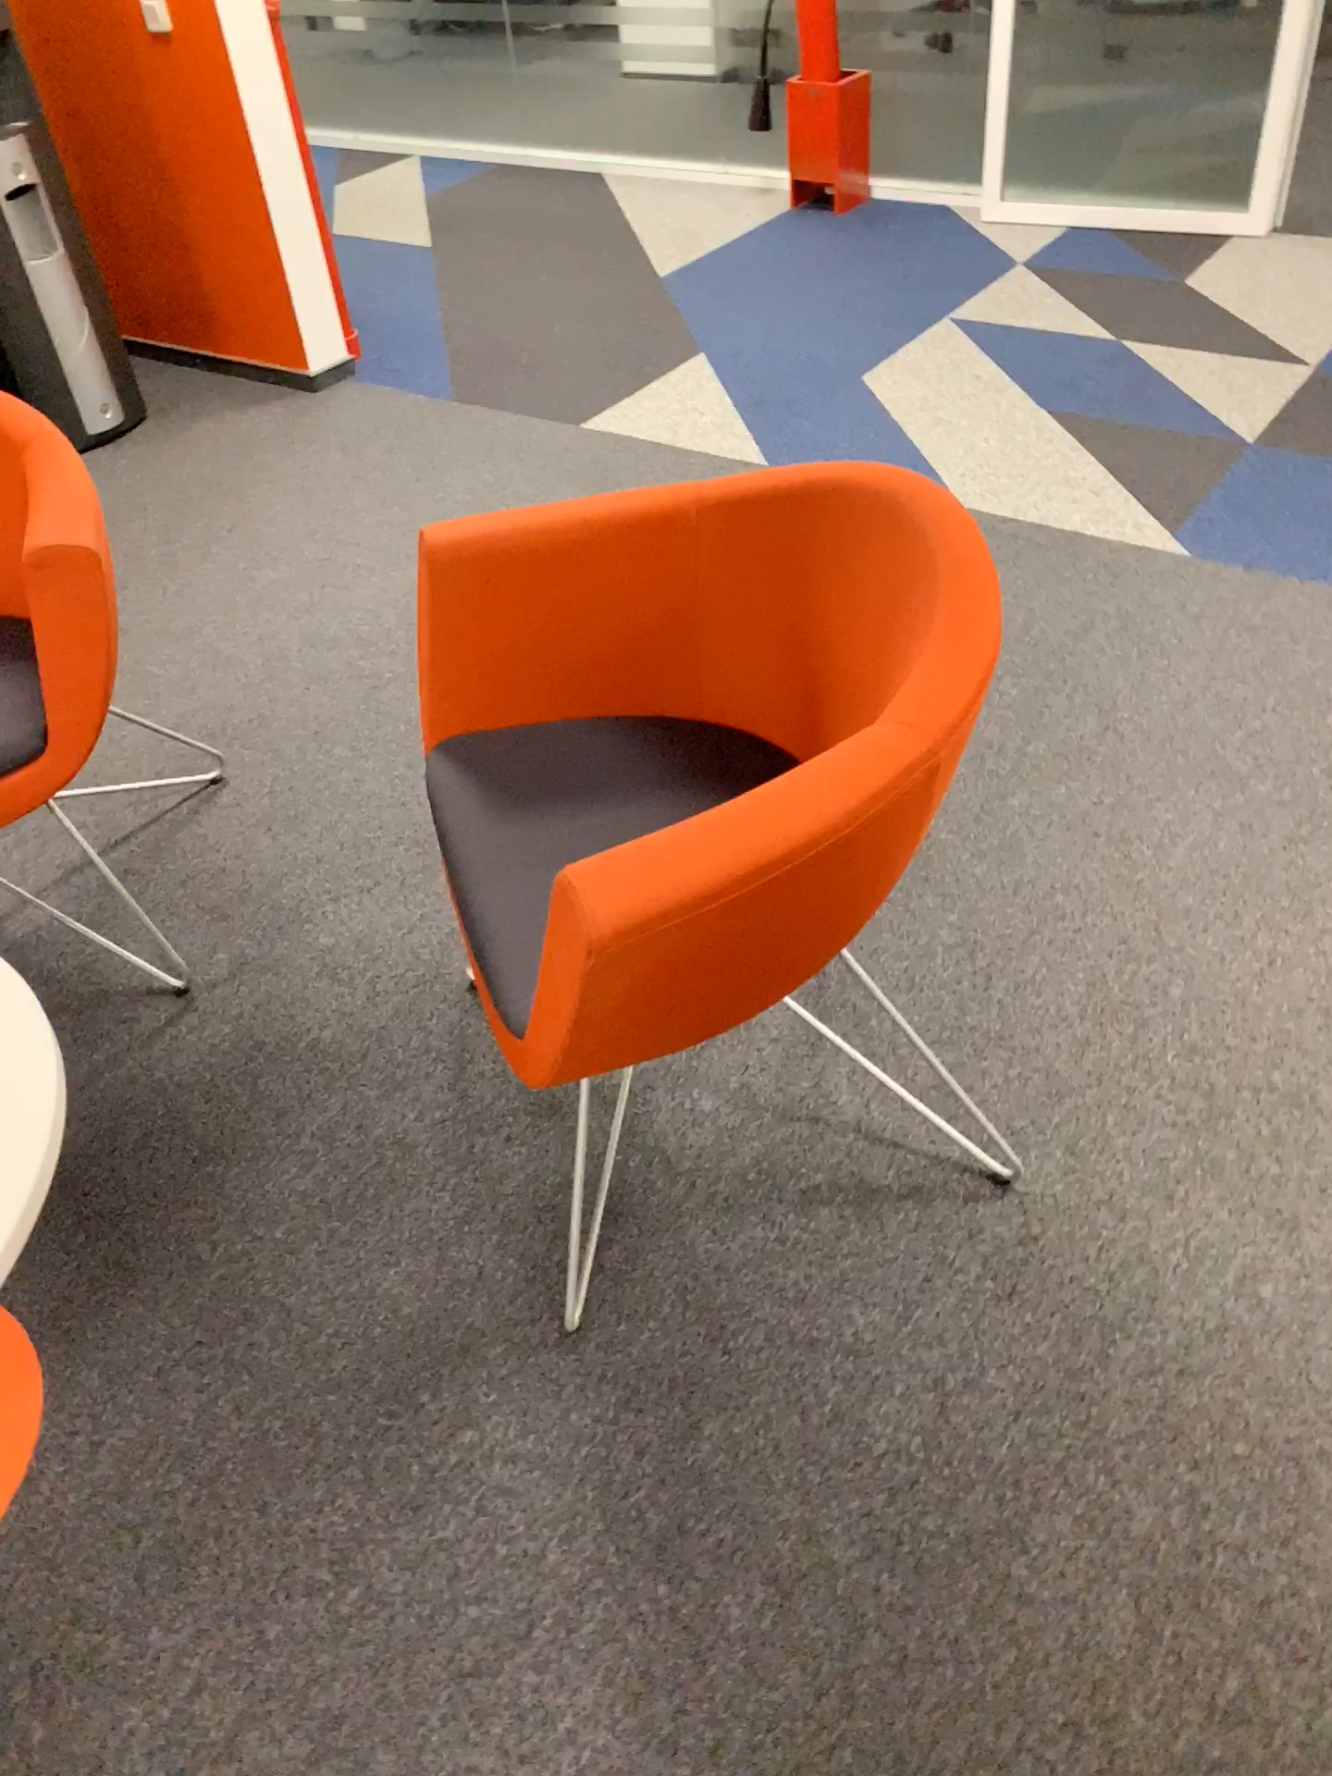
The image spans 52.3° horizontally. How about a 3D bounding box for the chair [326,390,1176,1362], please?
[{"bbox_3d":[0.053,-0.036,1.507,0.620,0.706,0.643,-15,41,-10],"label":"chair"}]
